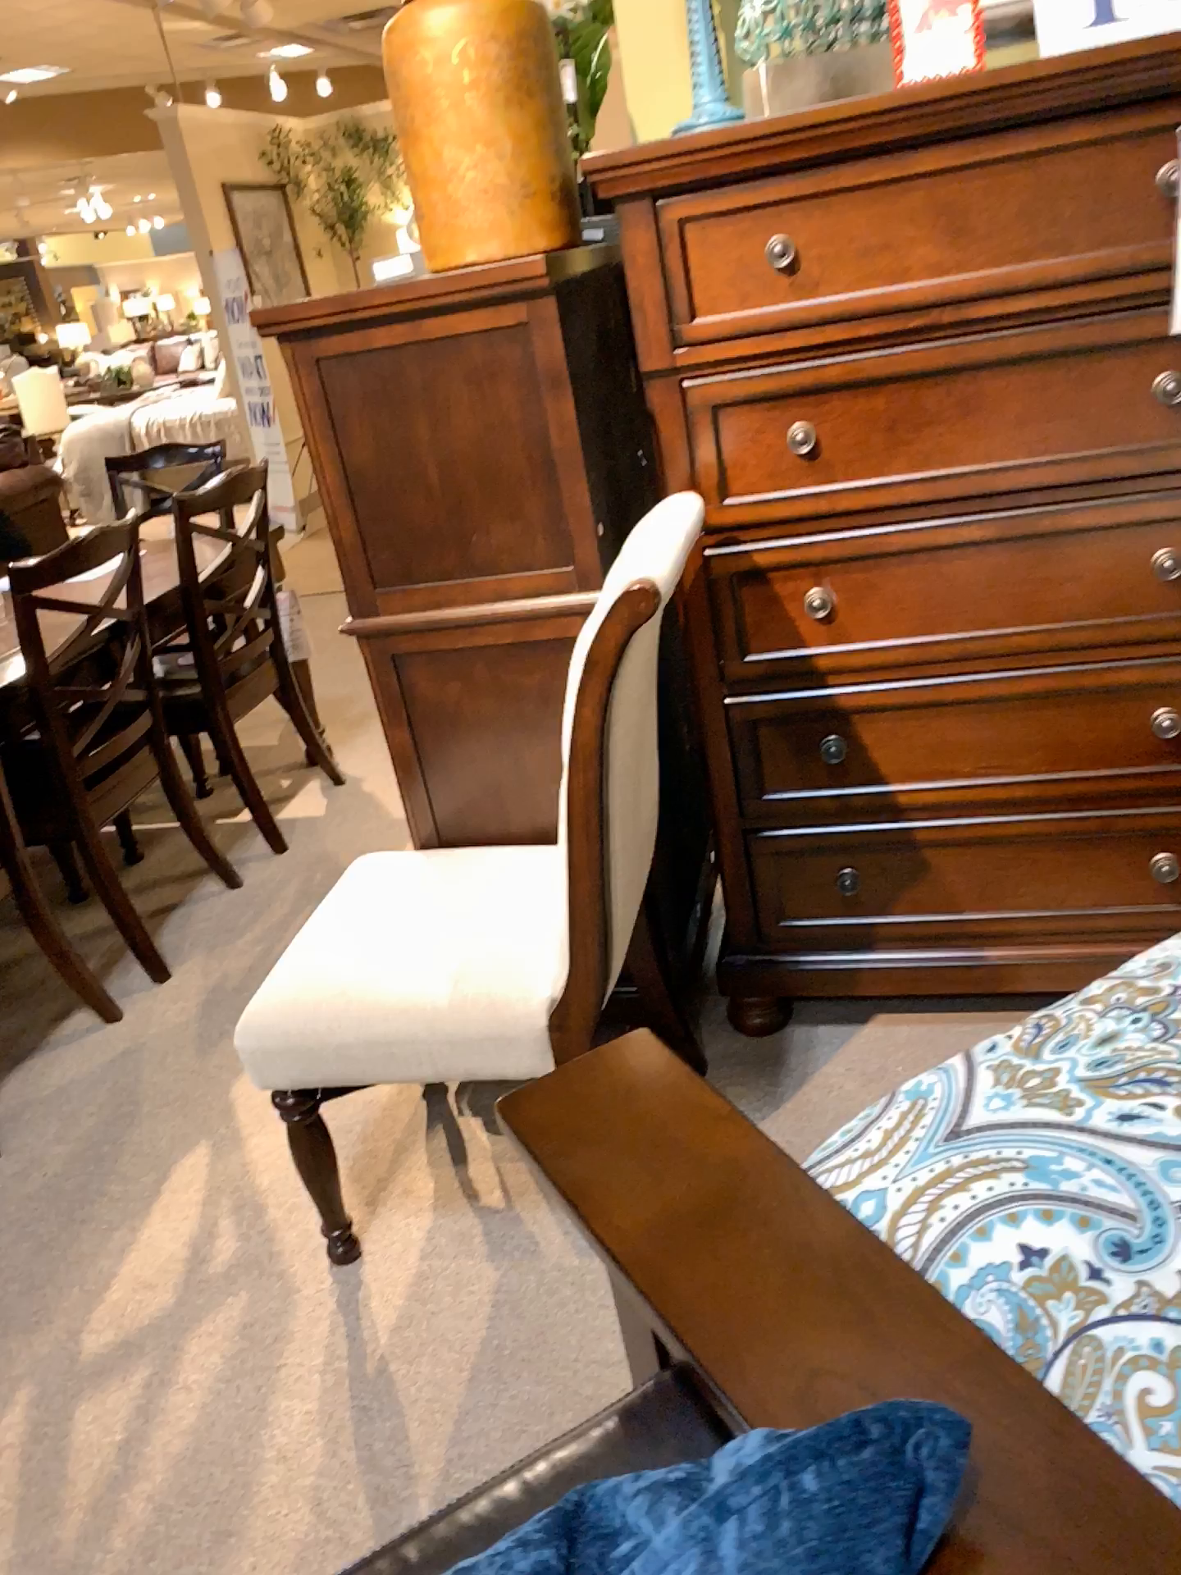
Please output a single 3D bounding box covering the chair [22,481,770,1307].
[{"bbox_3d":[-0.166,0.144,1.720,0.718,0.949,0.587,-4,25,14],"label":"chair"}]
